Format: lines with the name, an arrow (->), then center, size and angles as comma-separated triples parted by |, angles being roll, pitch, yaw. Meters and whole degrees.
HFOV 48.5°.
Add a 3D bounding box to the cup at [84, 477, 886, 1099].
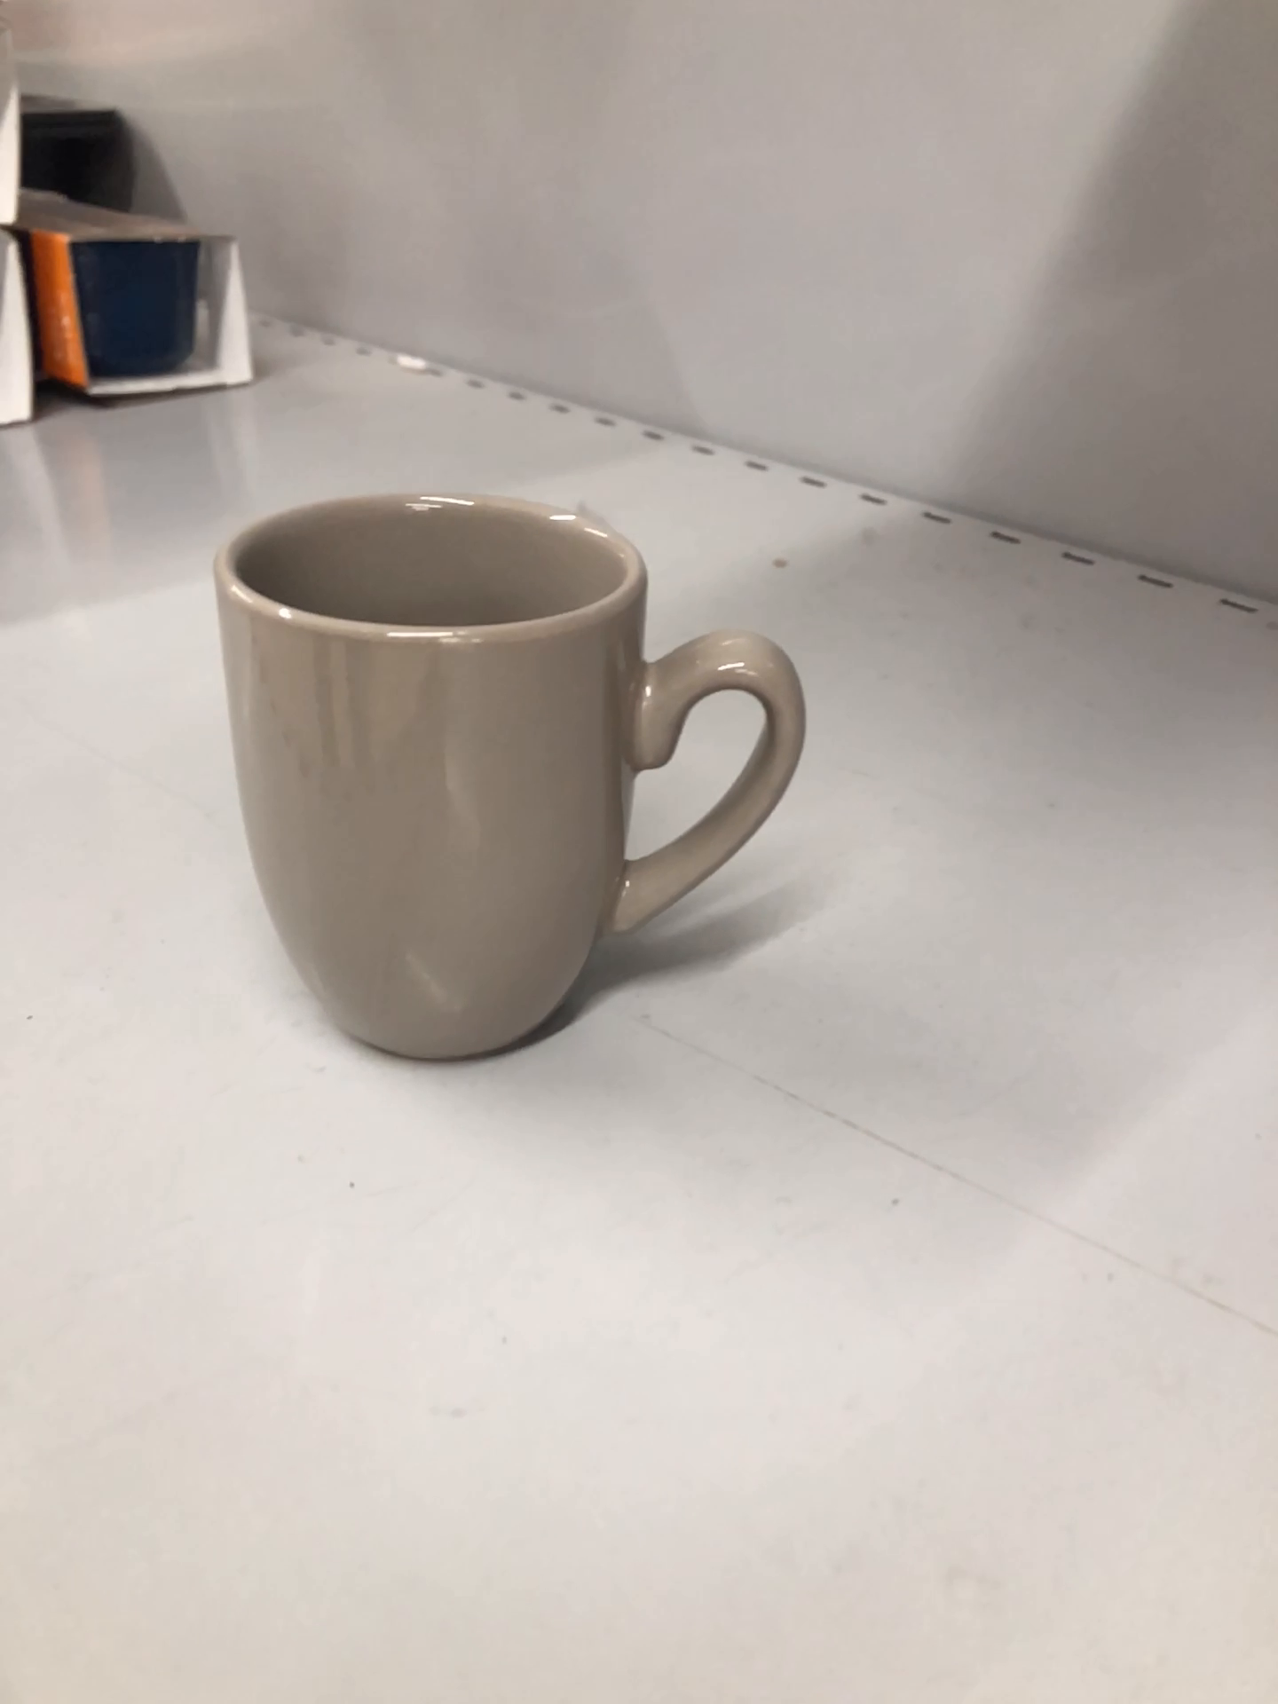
cup -> -0.018, -0.012, 0.205 | 0.091, 0.062, 0.065 | 3, 31, 0
